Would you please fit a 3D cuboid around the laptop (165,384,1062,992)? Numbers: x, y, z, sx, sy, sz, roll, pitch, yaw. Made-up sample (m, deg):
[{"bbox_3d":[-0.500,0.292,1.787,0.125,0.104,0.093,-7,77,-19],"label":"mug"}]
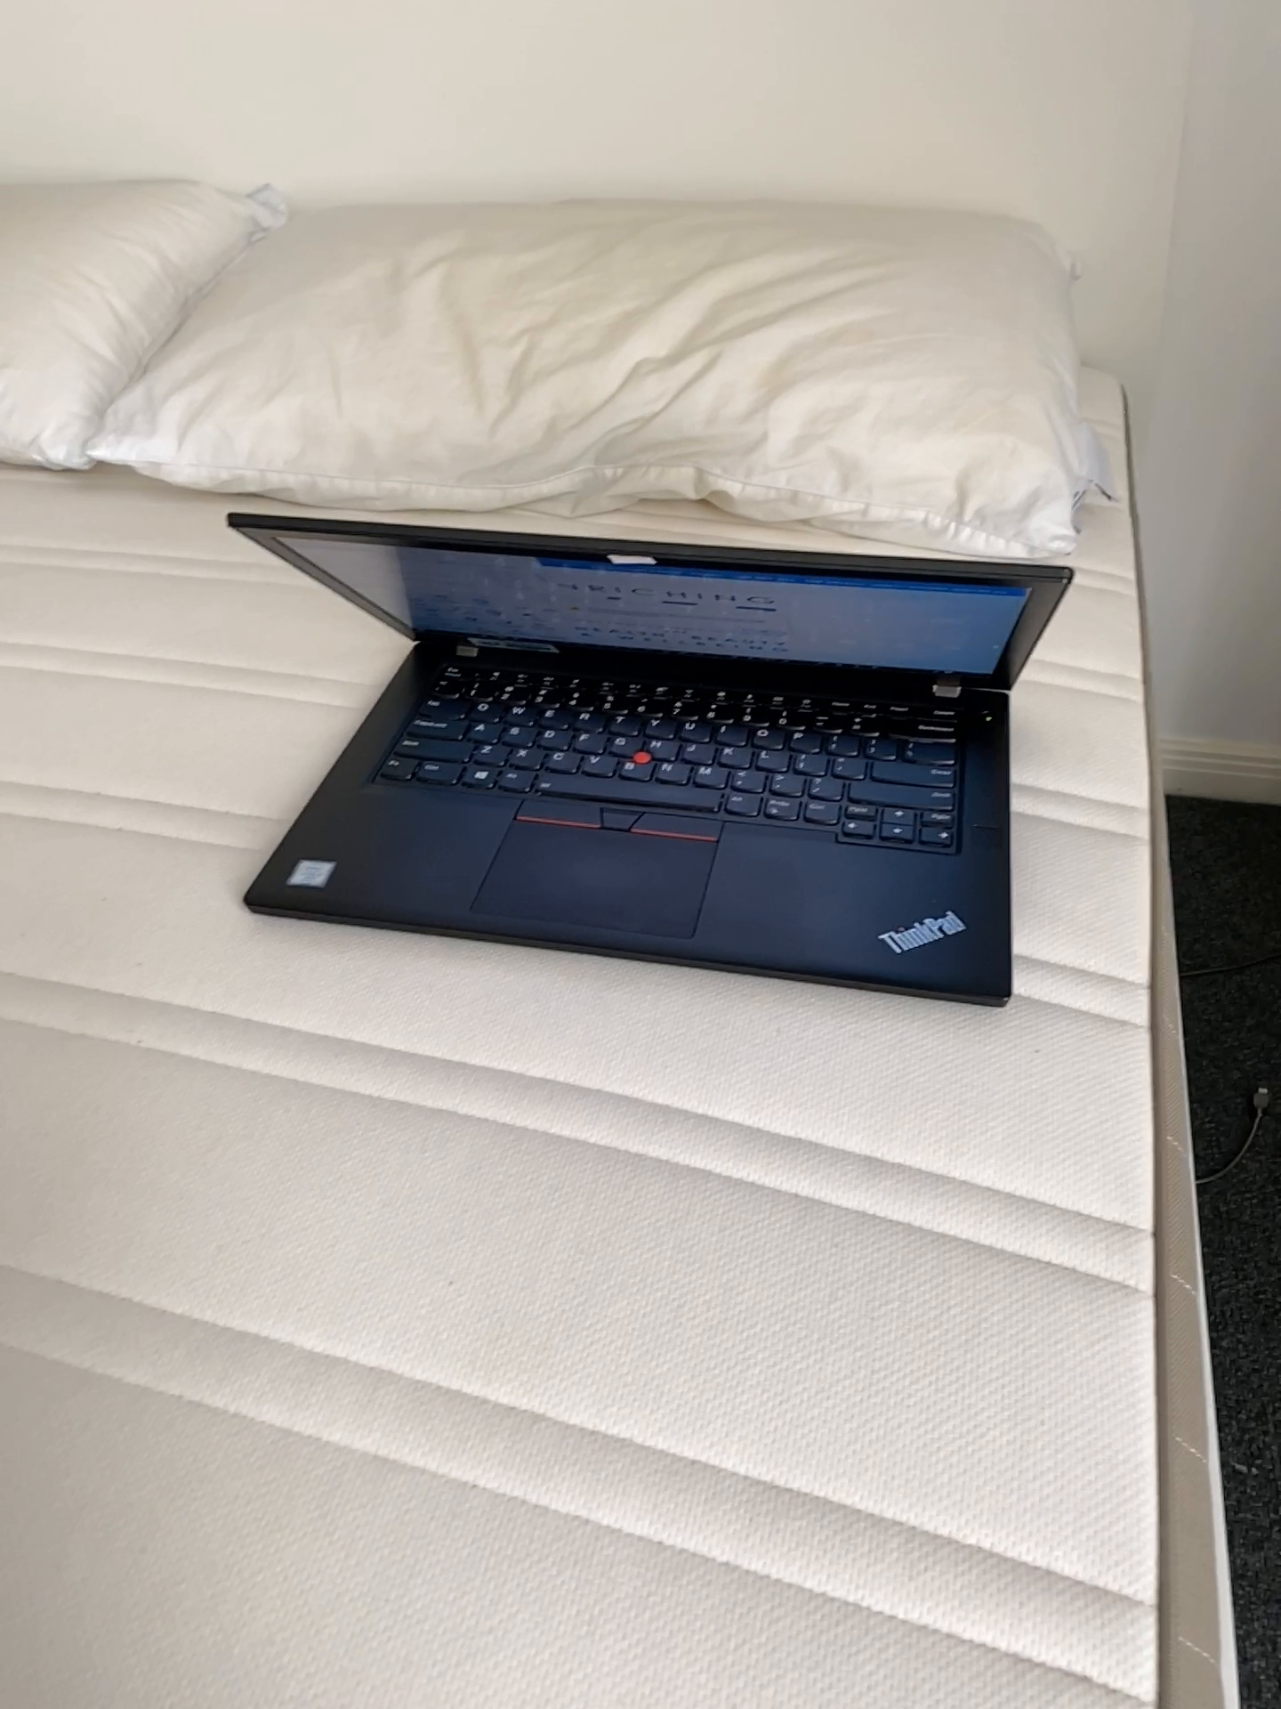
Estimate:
[{"bbox_3d":[0.007,-0.090,0.589,0.324,0.150,0.221,6,40,10],"label":"laptop"}]
